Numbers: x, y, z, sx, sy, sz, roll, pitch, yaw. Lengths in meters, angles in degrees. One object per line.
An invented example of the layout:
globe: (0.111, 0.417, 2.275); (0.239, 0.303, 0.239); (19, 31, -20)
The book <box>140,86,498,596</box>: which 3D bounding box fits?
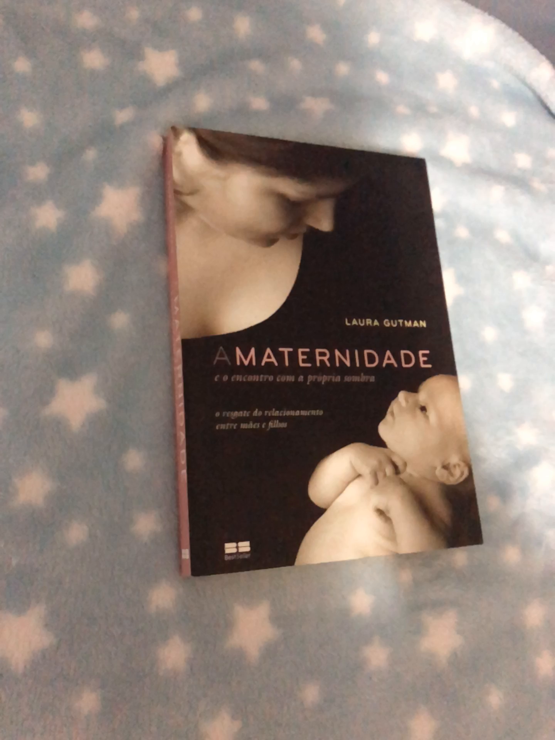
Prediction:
book: (0.016, -0.021, 0.317); (0.160, 0.030, 0.240); (1, 74, -20)
